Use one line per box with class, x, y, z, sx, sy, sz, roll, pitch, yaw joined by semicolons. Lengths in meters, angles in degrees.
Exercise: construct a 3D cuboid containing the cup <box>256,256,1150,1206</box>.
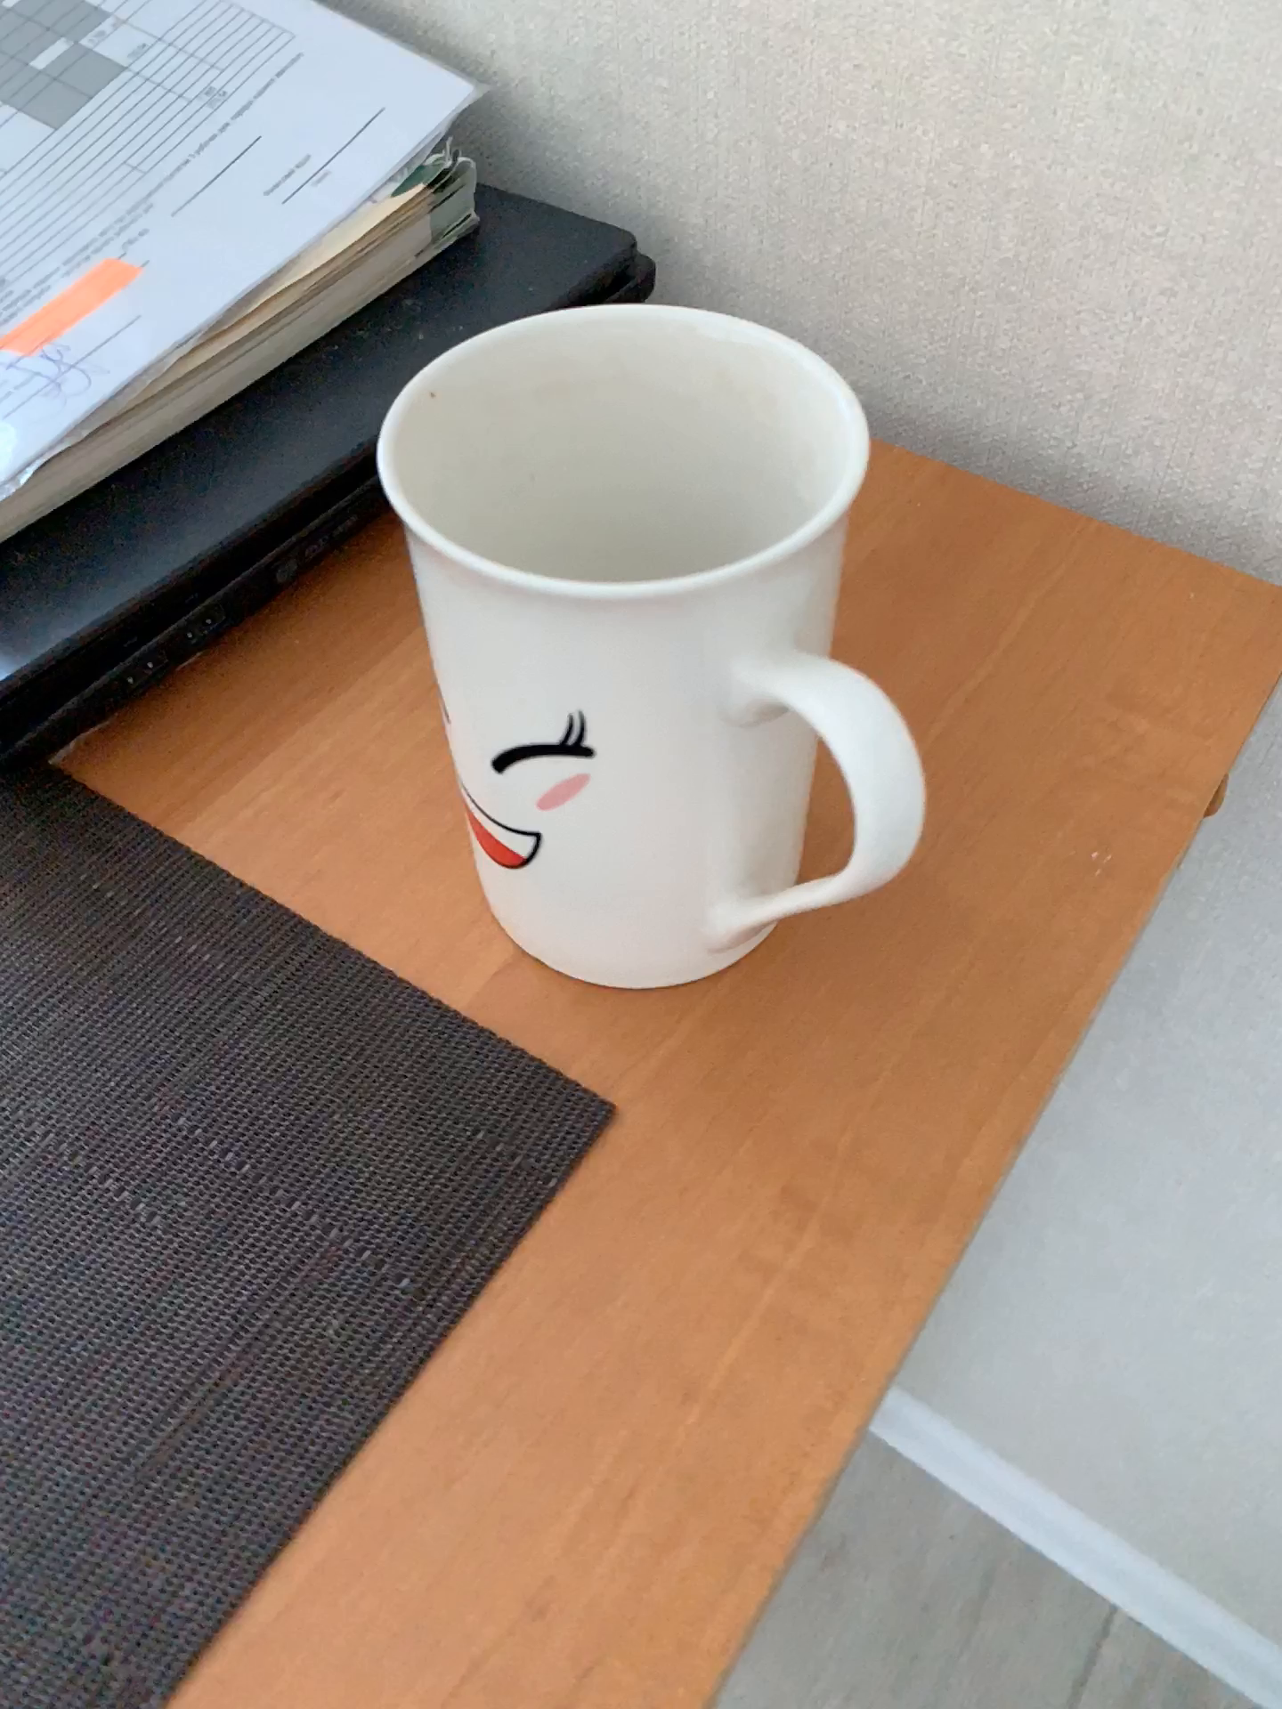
cup;0.004;-0.024;0.226;0.080;0.095;0.107;-29;56;-22
